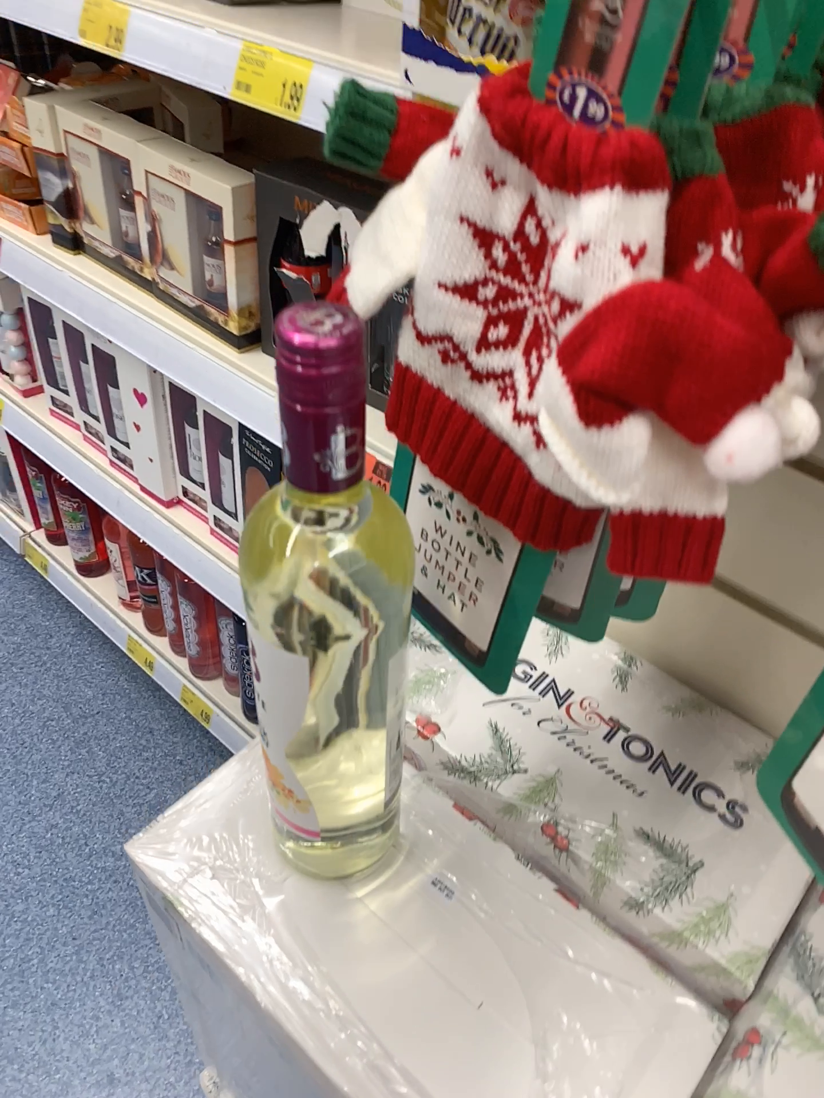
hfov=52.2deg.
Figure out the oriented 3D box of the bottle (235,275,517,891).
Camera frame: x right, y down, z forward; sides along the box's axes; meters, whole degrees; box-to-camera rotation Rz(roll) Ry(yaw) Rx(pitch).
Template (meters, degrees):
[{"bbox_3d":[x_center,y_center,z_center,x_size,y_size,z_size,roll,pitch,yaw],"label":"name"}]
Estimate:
[{"bbox_3d":[-0.026,0.036,0.372,0.080,0.288,0.082,3,41,-3],"label":"bottle"}]
